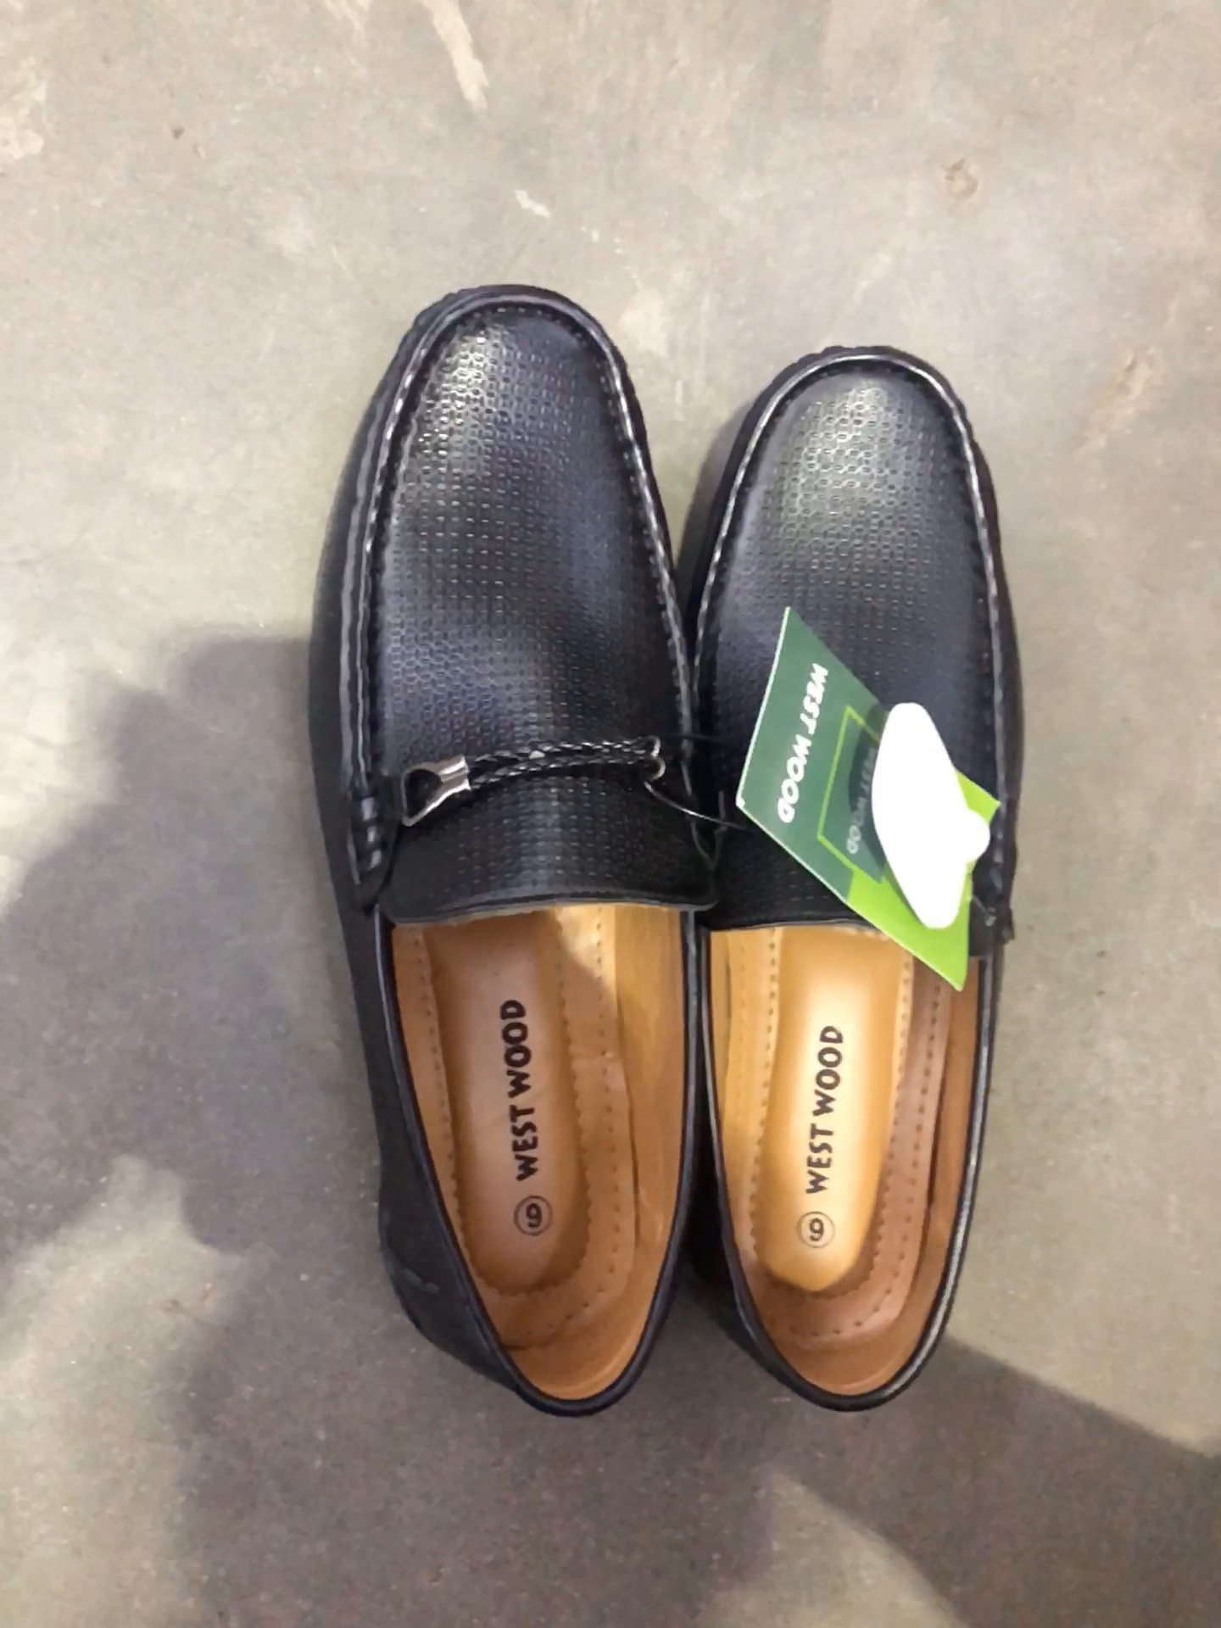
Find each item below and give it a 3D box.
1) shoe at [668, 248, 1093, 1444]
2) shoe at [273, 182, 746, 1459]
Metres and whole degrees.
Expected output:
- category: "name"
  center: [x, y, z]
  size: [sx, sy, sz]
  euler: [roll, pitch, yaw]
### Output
- category: "shoe"
  center: [0.066, 0.008, 0.354]
  size: [0.090, 0.070, 0.280]
  euler: [1, 90, -3]
- category: "shoe"
  center: [-0.029, 0.000, 0.342]
  size: [0.100, 0.070, 0.280]
  euler: [-2, 91, -14]
